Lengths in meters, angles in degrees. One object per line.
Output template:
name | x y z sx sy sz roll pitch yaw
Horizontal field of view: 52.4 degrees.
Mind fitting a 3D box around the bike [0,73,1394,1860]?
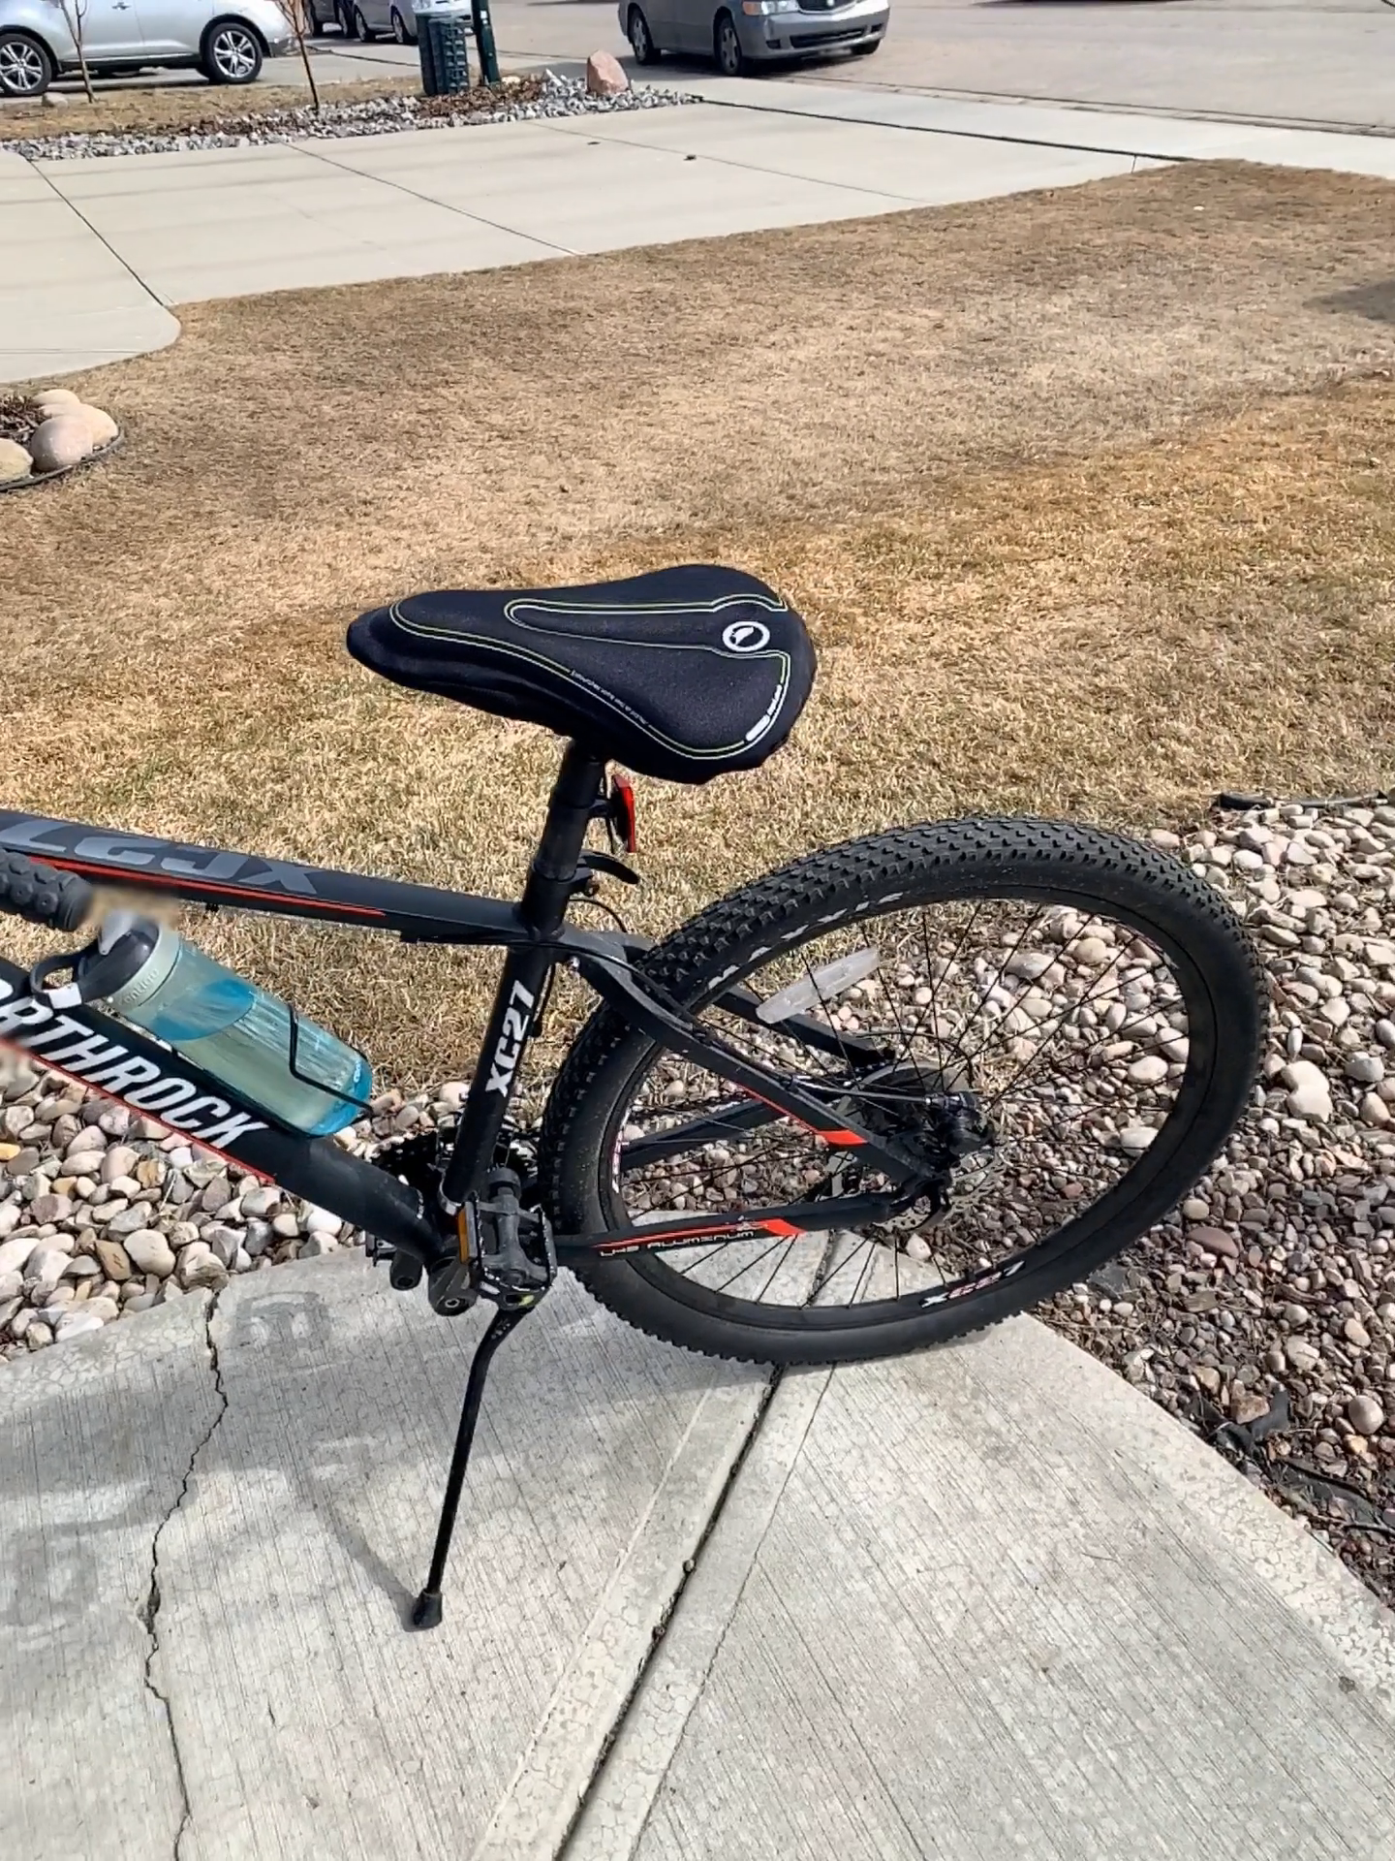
bike | -0.254 0.173 0.959 1.479 1.004 0.603 -16 36 -9
